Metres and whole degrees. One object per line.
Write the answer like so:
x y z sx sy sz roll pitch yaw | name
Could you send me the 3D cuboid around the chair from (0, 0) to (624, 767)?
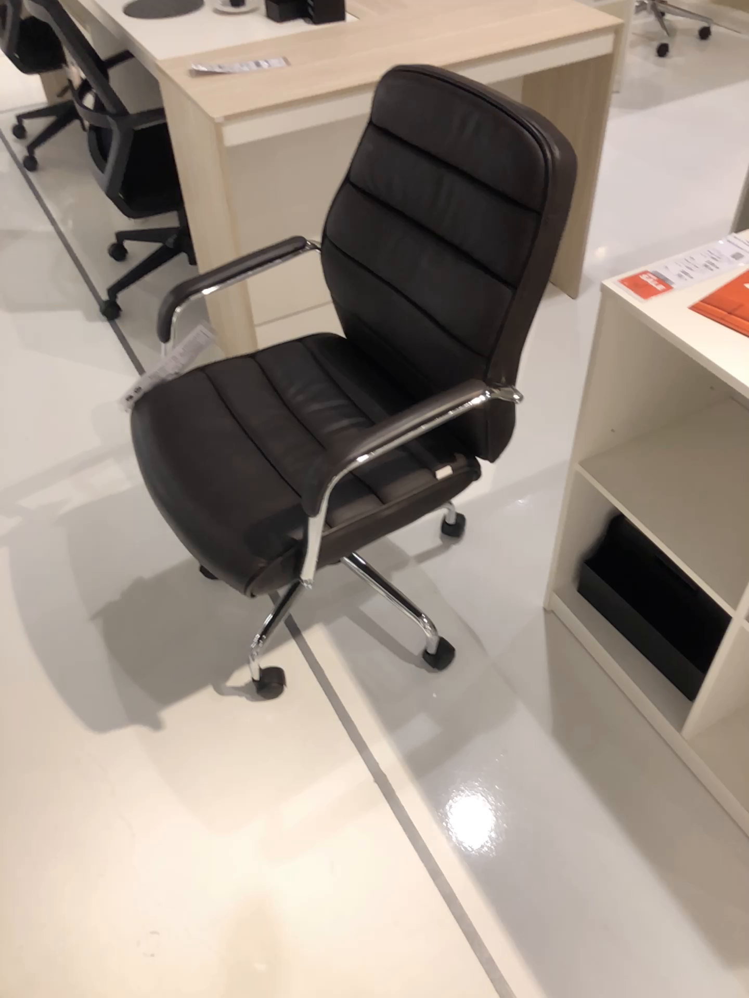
-0.113 -0.185 1.376 0.571 0.973 0.653 -25 49 -20 | chair
